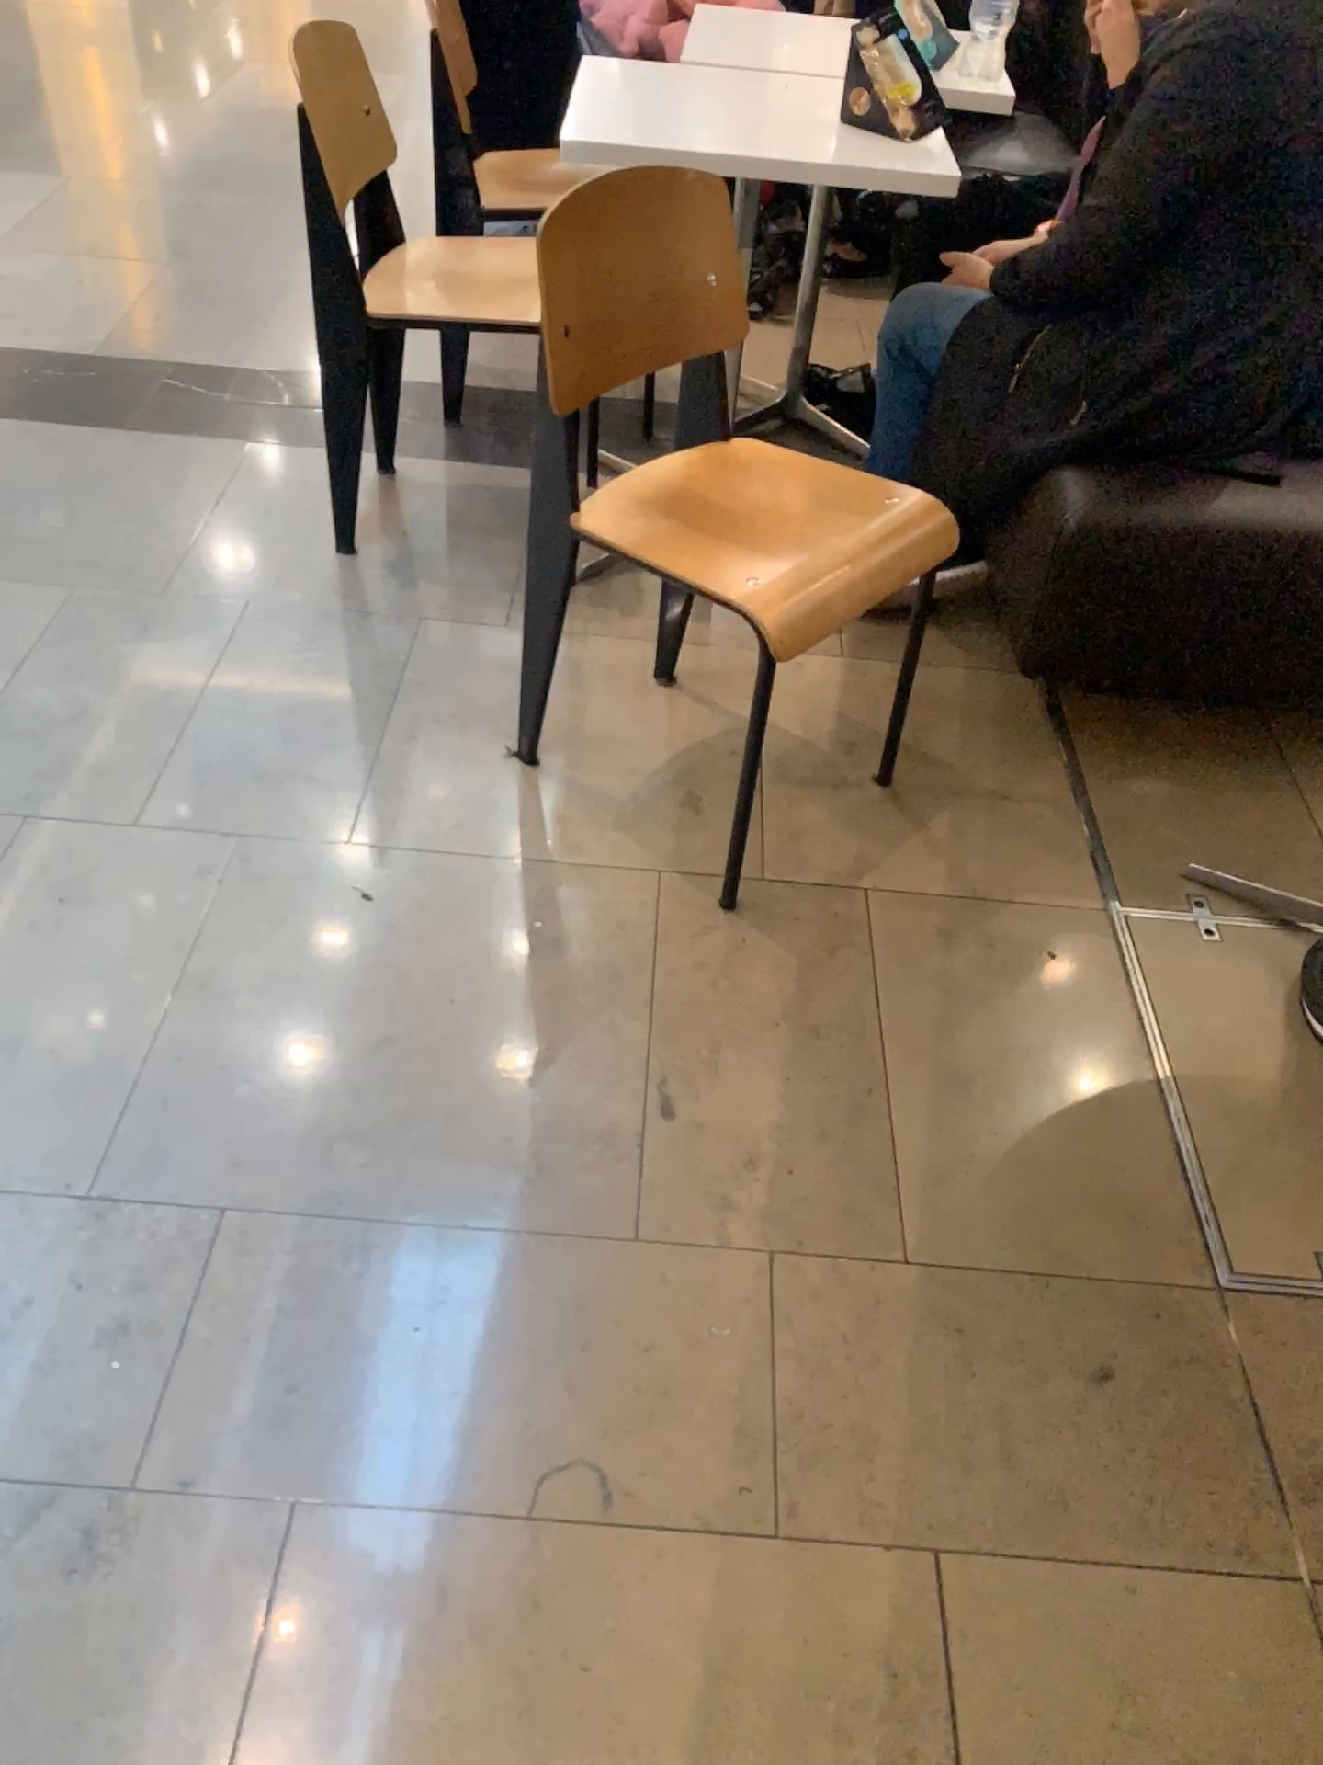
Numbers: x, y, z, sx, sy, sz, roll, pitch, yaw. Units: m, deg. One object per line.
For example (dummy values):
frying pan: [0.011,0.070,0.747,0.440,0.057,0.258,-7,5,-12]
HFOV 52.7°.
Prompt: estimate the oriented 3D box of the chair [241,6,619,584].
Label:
chair: [-0.362,-0.989,2.299,0.494,0.767,0.431,6,43,0]

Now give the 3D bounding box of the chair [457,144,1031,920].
chair: [0.064,-0.453,1.756,0.497,0.767,0.419,34,49,26]
